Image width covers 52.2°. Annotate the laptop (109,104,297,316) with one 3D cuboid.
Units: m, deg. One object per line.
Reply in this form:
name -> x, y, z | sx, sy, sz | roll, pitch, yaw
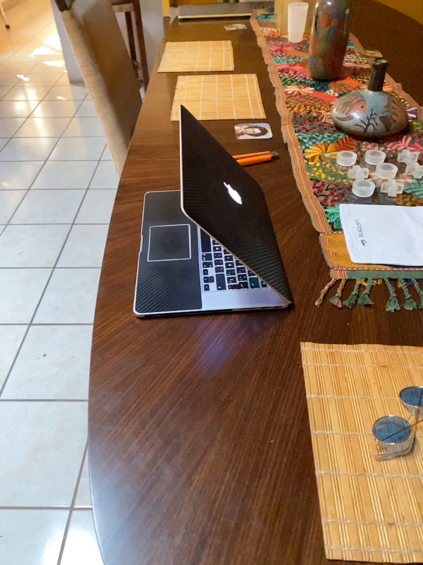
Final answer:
laptop -> -0.020, -0.141, 0.734 | 0.235, 0.181, 0.356 | -3, 43, -2
